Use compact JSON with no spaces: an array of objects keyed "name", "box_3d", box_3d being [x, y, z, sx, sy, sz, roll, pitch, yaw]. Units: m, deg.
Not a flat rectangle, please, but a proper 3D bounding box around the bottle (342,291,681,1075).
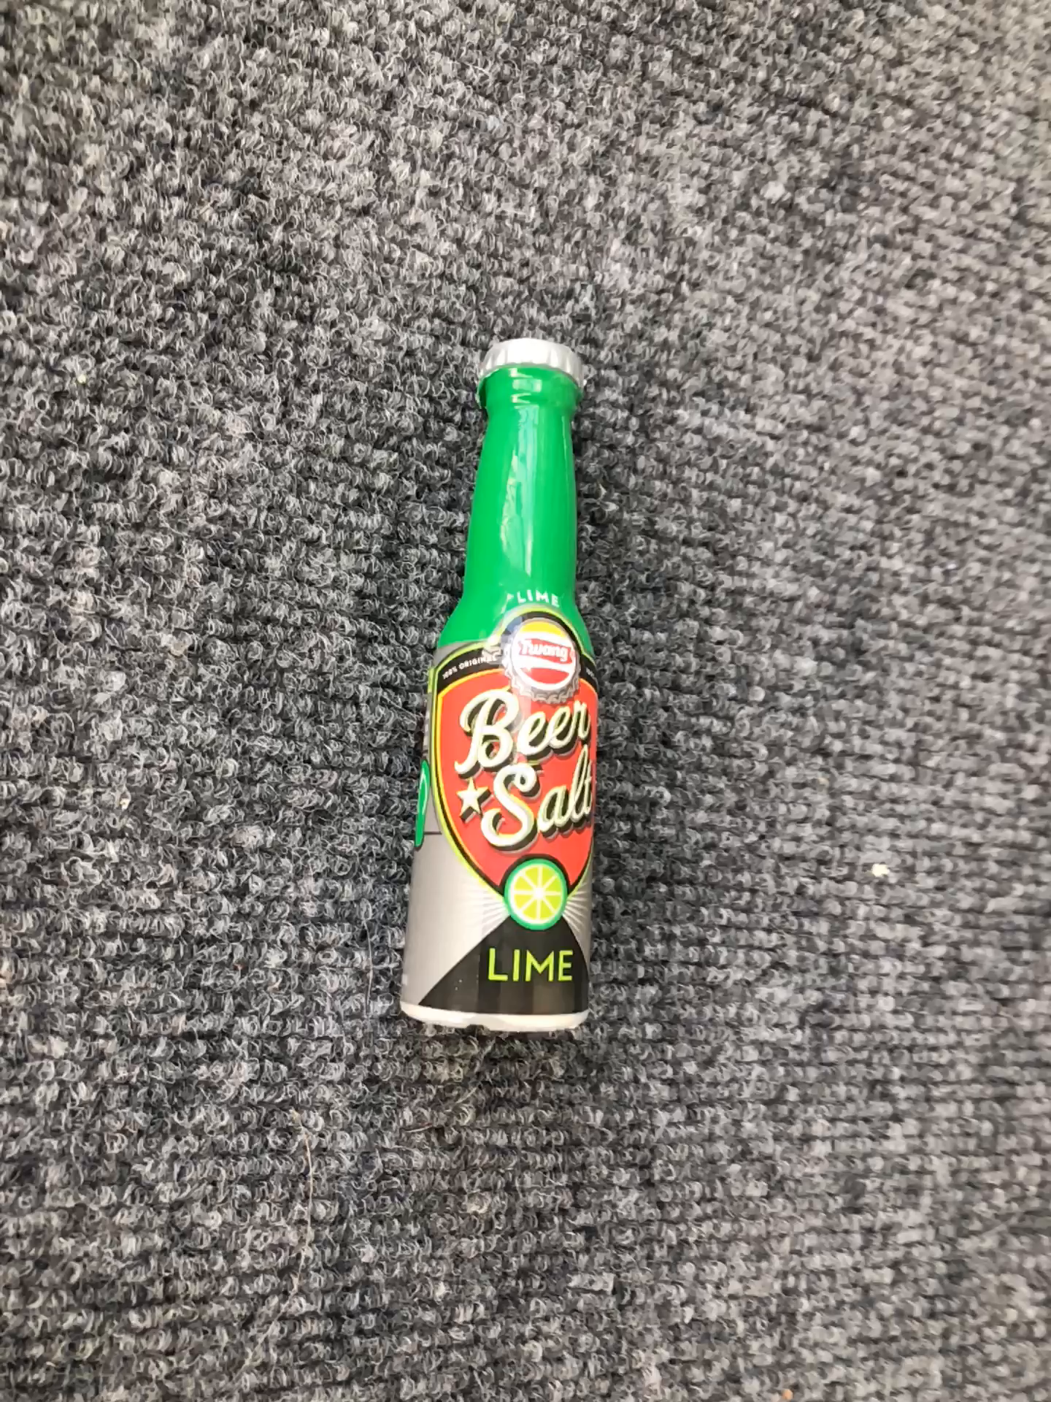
[{"name":"bottle","box_3d":[-0.002,-0.001,0.171,0.033,0.030,0.101,7,84,-26]}]
